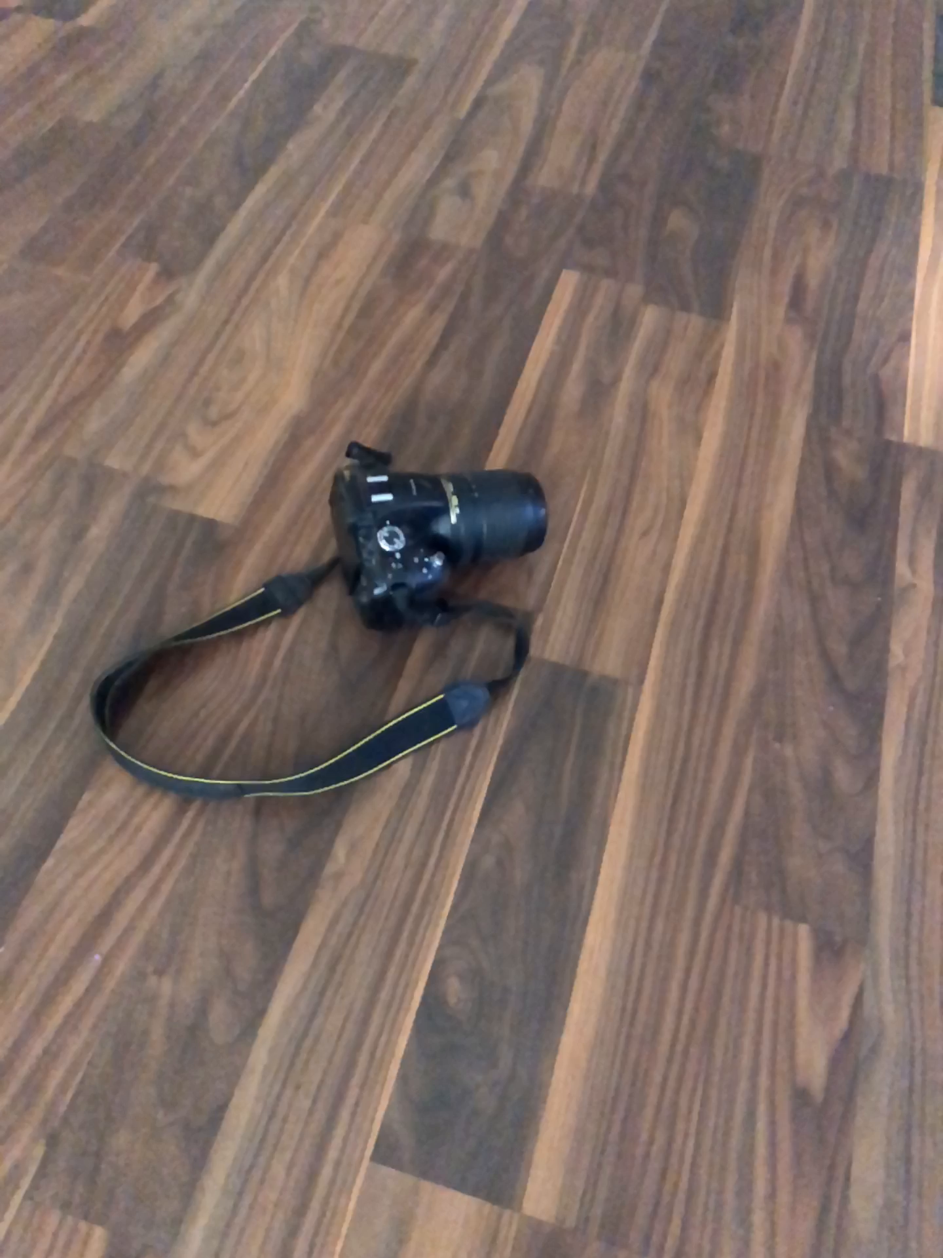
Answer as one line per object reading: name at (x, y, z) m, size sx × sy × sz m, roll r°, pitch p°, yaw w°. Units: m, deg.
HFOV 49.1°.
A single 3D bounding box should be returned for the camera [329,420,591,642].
camera at (-0.011, -0.075, 0.766) m, size 0.160 × 0.070 × 0.120 m, roll -13°, pitch 55°, yaw -11°
